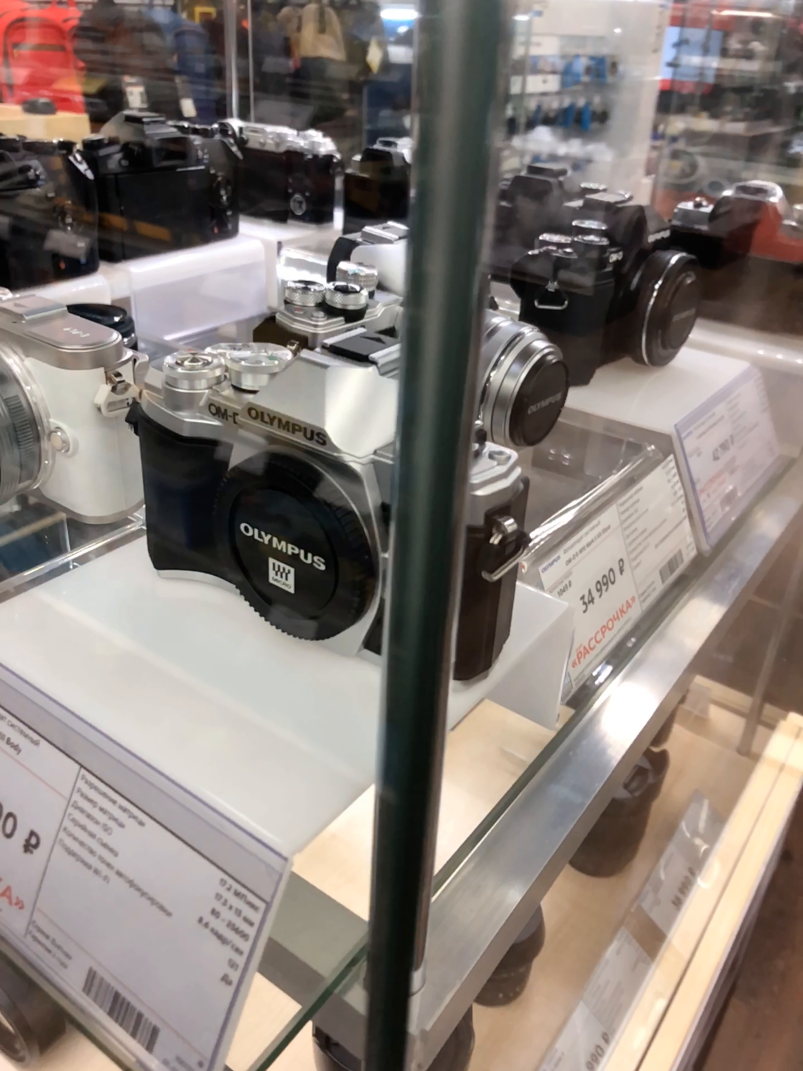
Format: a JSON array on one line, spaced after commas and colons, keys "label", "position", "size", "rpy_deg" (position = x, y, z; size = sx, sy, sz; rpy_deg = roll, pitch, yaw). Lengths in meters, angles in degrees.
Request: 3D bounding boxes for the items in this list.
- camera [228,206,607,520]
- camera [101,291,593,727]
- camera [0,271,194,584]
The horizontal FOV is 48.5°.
[{"label": "camera", "position": [0.011, -0.085, 0.390], "size": [0.101, 0.084, 0.137], "rpy_deg": [20, 34, 27]}, {"label": "camera", "position": [-0.019, -0.016, 0.263], "size": [0.122, 0.077, 0.065], "rpy_deg": [22, 34, 29]}, {"label": "camera", "position": [-0.148, -0.047, 0.332], "size": [0.125, 0.068, 0.068], "rpy_deg": [22, 35, 30]}]
